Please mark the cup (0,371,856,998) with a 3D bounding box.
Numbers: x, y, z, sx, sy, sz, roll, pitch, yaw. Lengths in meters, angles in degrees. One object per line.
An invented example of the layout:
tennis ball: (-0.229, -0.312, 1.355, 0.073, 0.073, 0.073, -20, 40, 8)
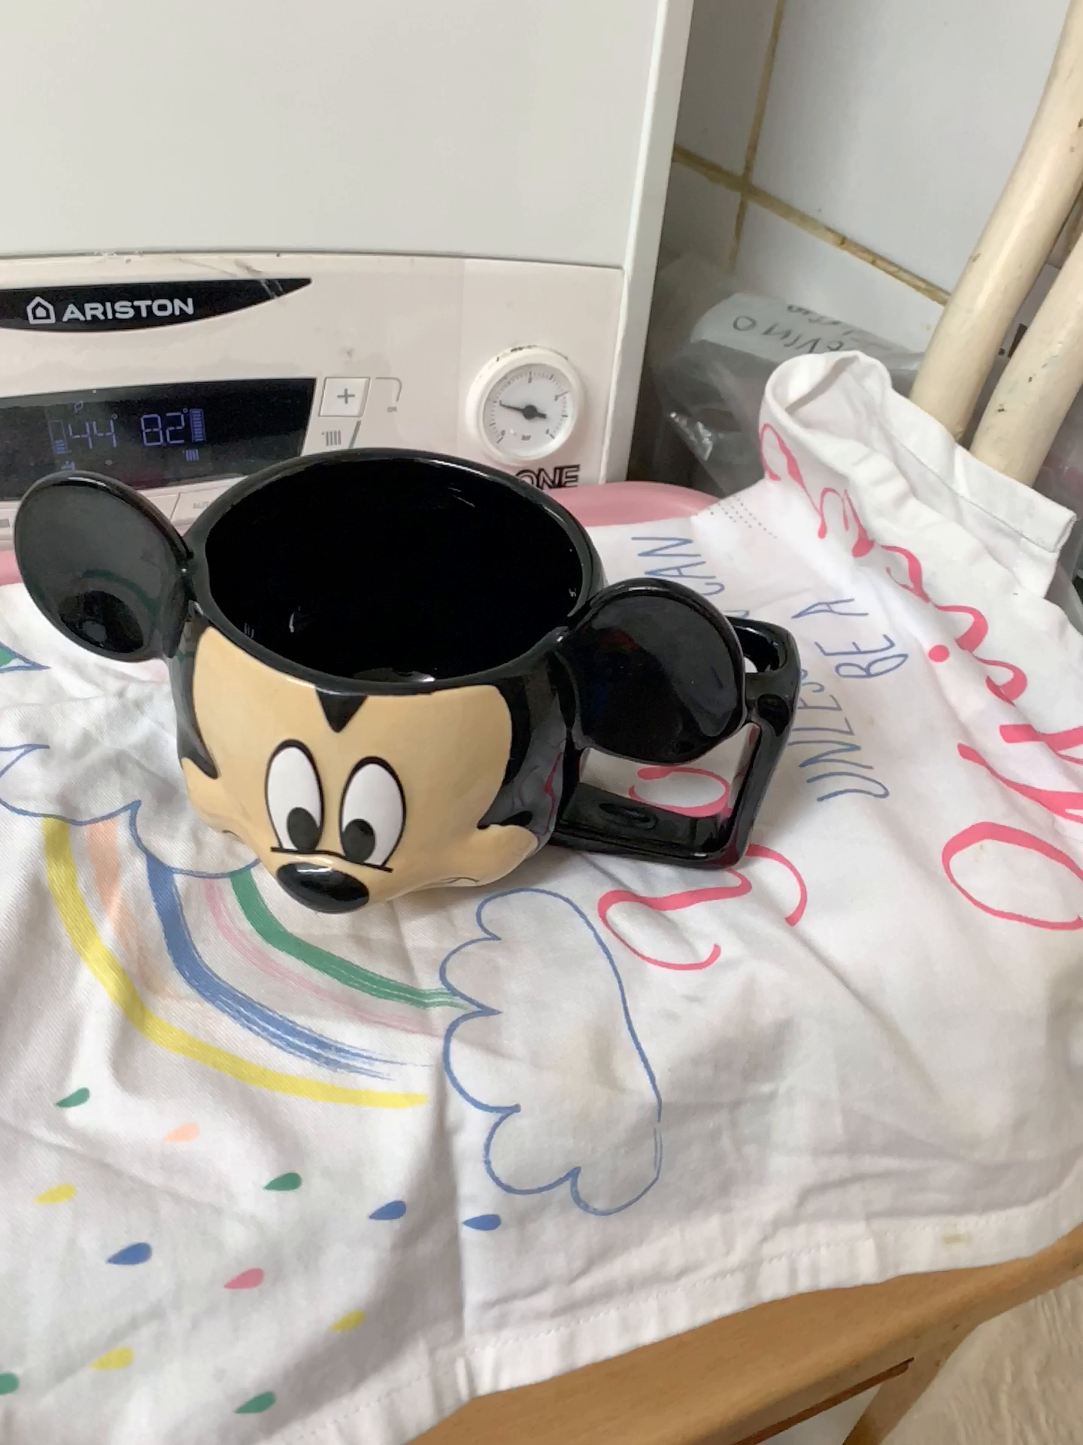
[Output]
cup: (-0.032, -0.015, 0.274, 0.190, 0.079, 0.101, 10, 39, 3)
